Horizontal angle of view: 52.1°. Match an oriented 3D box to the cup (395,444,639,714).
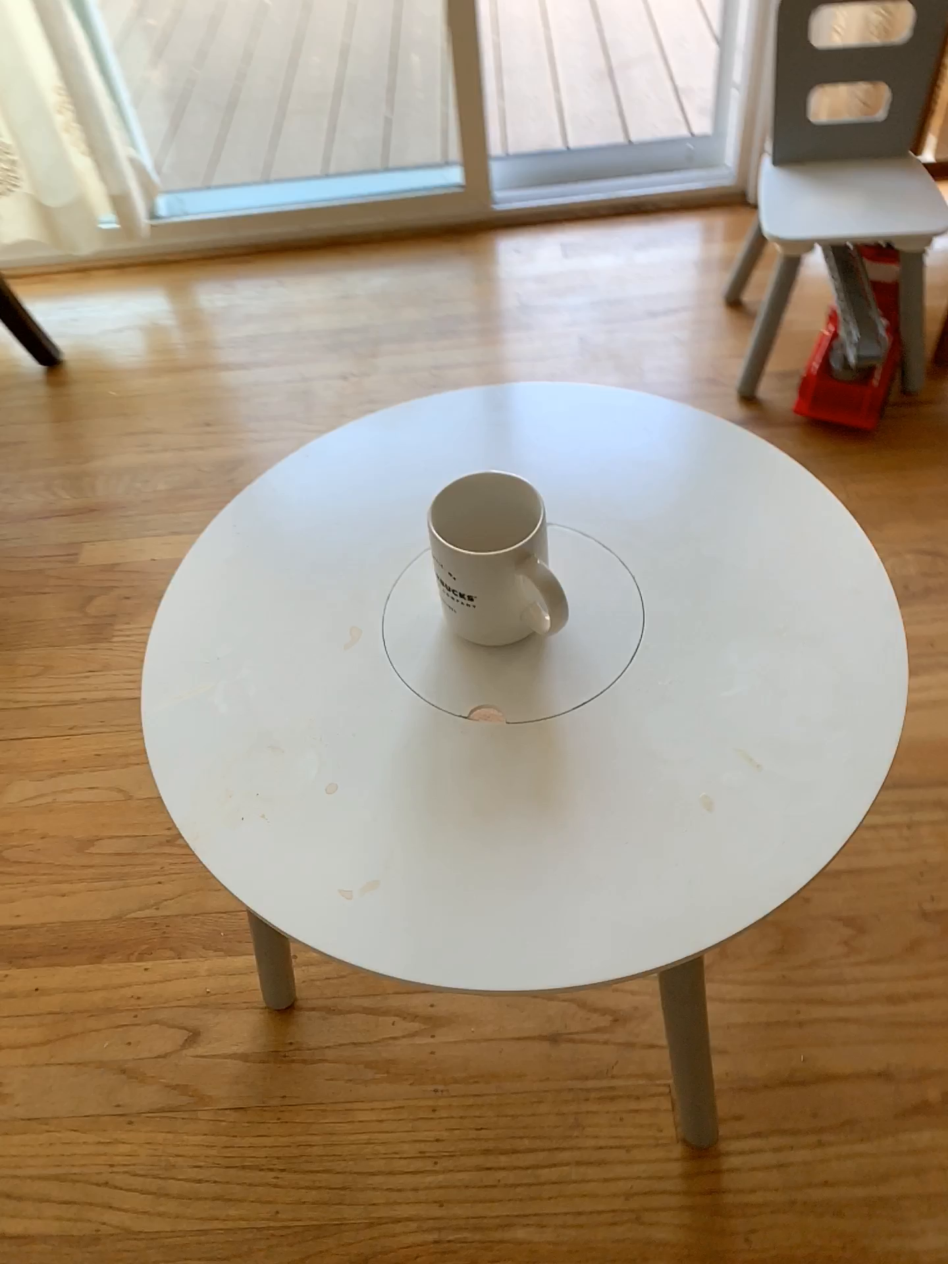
[{"bbox_3d":[0.031,-0.039,0.692,0.090,0.110,0.141,-39,57,-22],"label":"cup"}]
